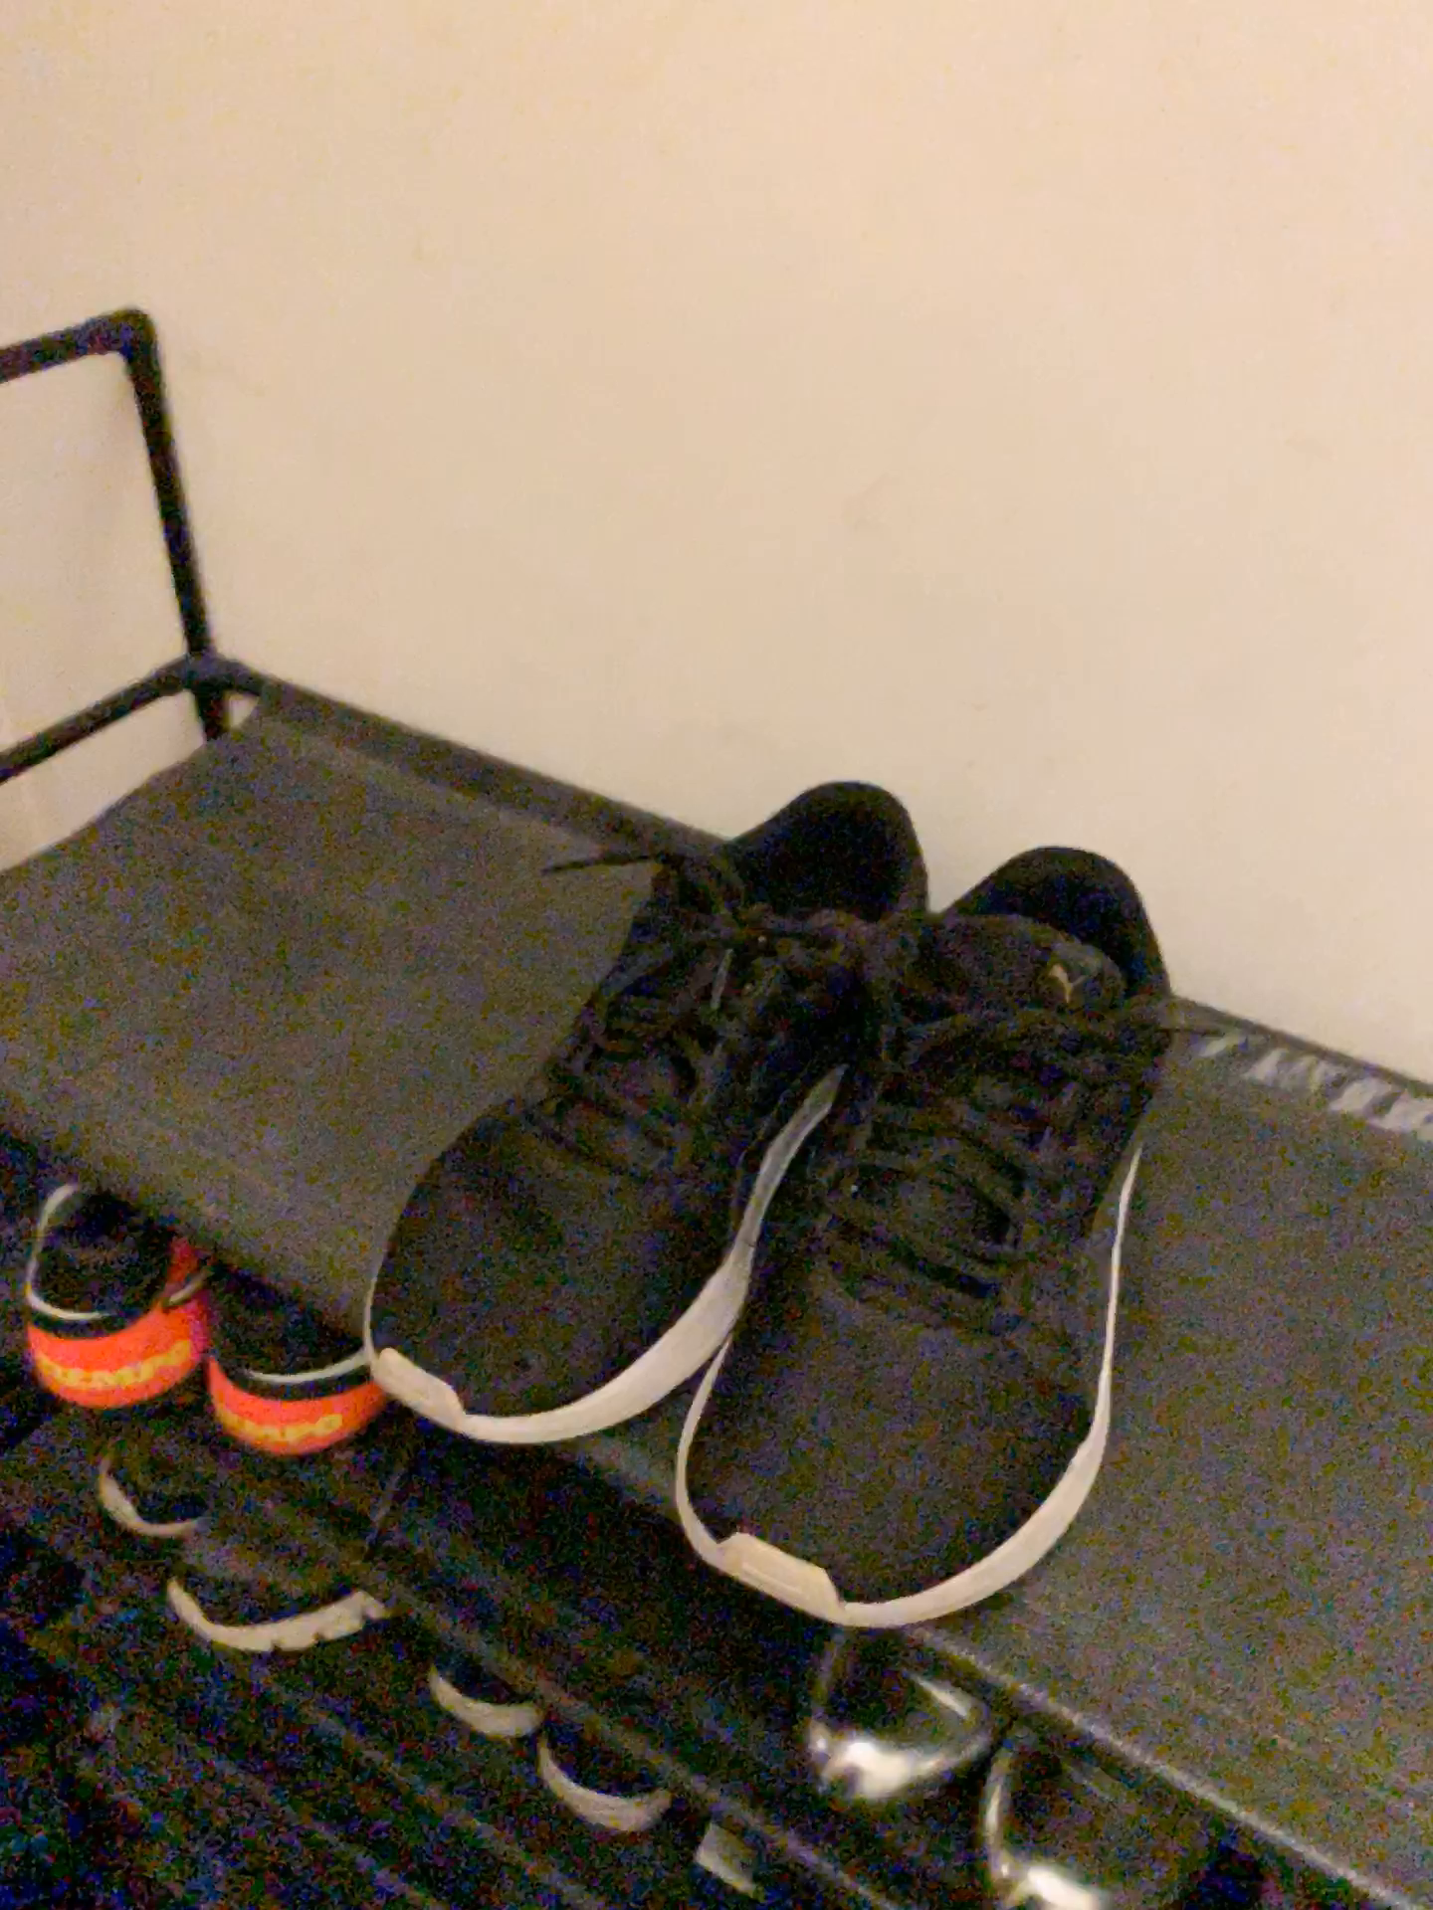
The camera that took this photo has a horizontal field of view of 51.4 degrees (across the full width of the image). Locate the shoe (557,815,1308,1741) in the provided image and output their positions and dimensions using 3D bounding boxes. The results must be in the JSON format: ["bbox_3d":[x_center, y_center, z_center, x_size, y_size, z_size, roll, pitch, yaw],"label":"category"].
[{"bbox_3d":[0.076,0.064,0.428,0.110,0.069,0.262,20,41,23],"label":"shoe"}]

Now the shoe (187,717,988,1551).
[{"bbox_3d":[-0.020,0.032,0.447,0.110,0.089,0.242,20,41,23],"label":"shoe"}]
